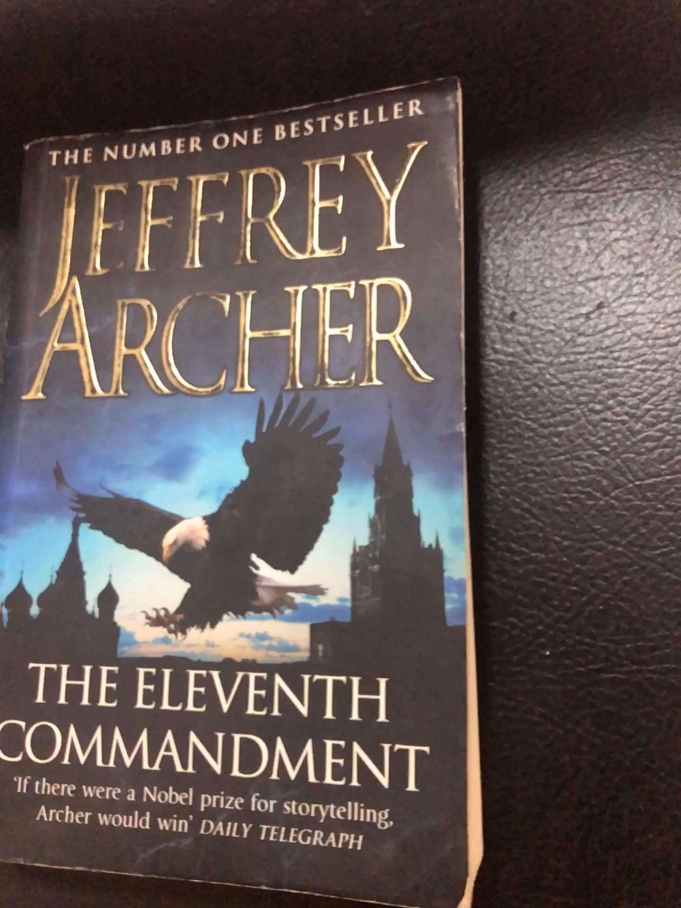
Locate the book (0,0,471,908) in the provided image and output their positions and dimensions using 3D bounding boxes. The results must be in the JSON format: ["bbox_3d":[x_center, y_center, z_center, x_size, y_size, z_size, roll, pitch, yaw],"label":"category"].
[{"bbox_3d":[-0.034,-0.005,0.196,0.130,0.040,0.200,0,80,11],"label":"book"}]
